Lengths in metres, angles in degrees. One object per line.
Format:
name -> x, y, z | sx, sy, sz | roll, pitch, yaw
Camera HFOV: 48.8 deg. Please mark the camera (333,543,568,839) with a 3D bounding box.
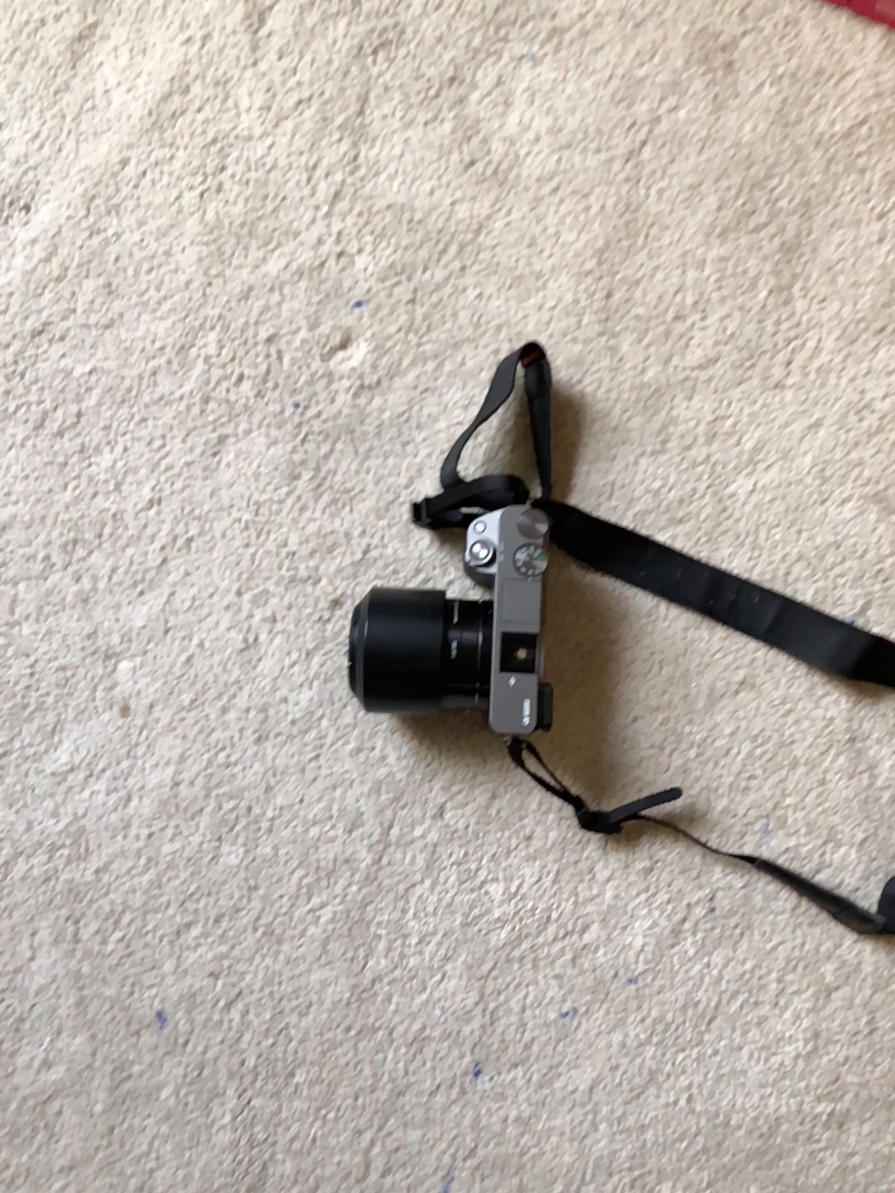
camera -> 0.003, 0.050, 0.515 | 0.110, 0.070, 0.140 | 2, 81, 0
